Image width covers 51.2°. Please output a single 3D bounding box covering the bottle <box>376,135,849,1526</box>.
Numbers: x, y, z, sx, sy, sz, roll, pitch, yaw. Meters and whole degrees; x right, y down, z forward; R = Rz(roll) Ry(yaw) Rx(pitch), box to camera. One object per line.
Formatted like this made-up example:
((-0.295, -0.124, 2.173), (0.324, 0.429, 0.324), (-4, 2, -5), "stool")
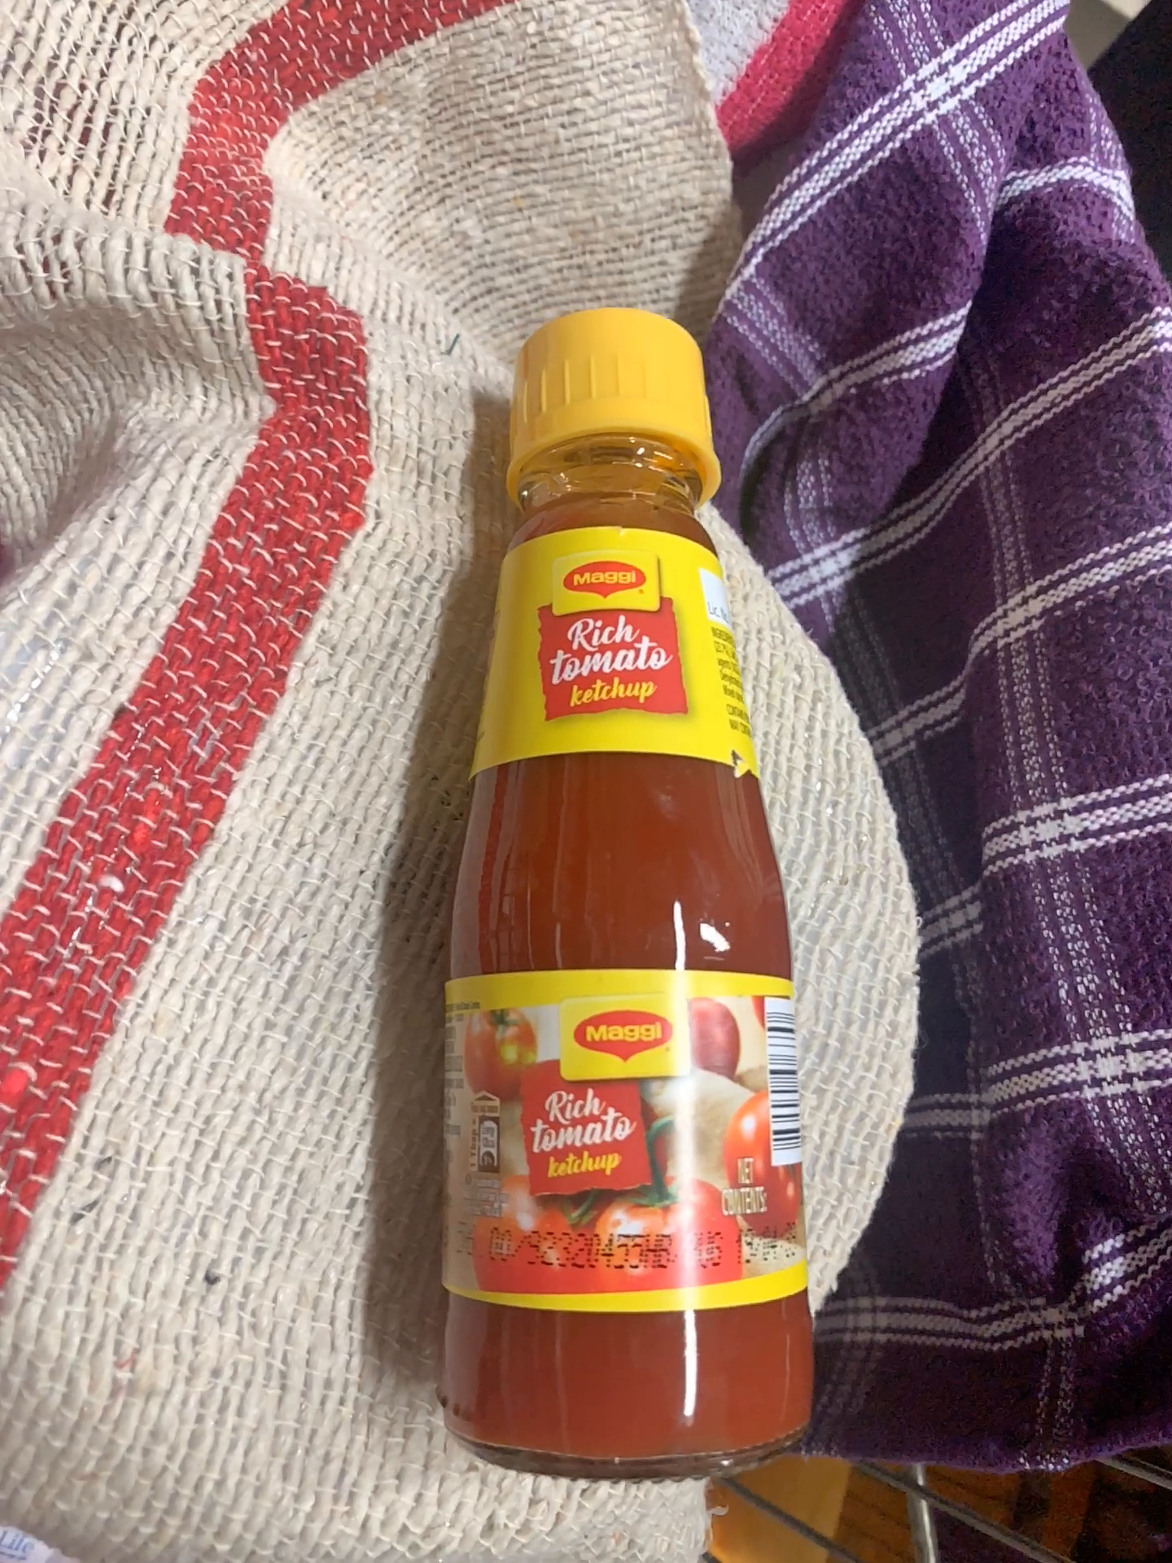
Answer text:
((0.003, 0.001, 0.172), (0.050, 0.050, 0.170), (-2, 77, 3), "bottle")
